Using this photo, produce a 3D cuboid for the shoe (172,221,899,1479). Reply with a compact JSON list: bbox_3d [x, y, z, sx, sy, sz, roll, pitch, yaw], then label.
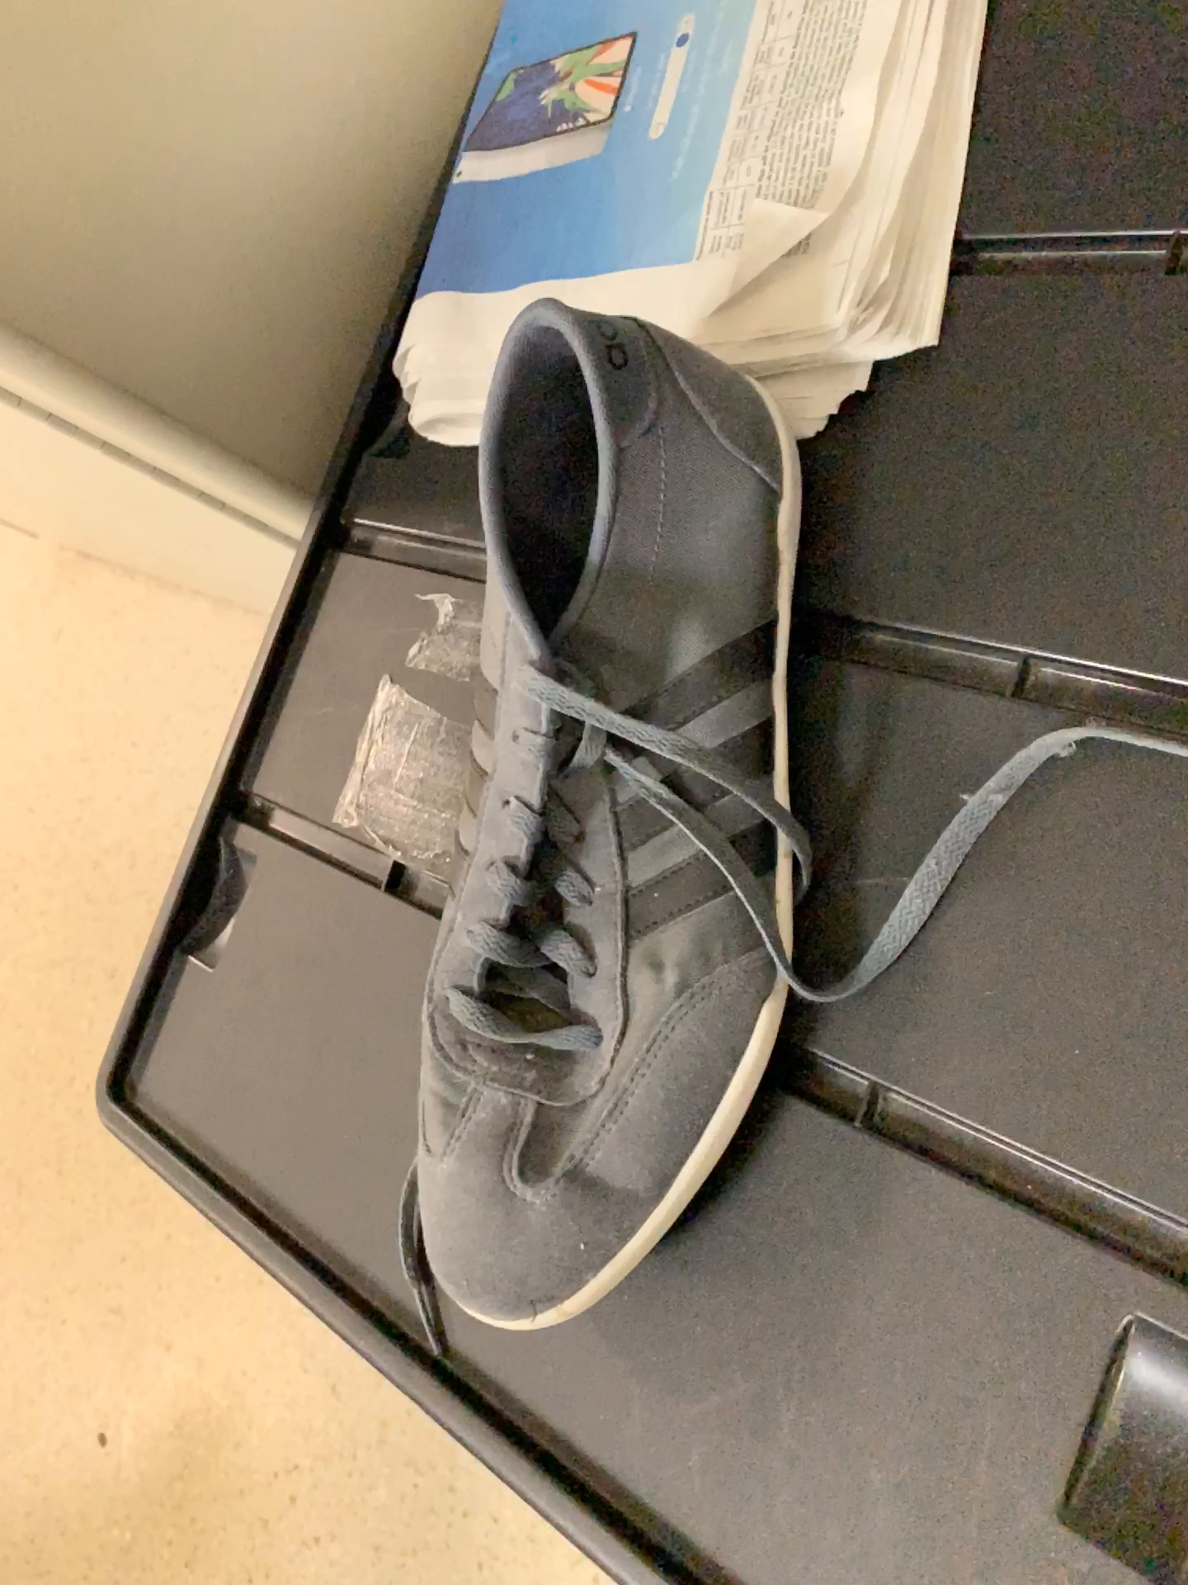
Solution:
[{"bbox_3d":[-0.010,0.006,0.318,0.114,0.077,0.268,4,78,37],"label":"shoe"}]
